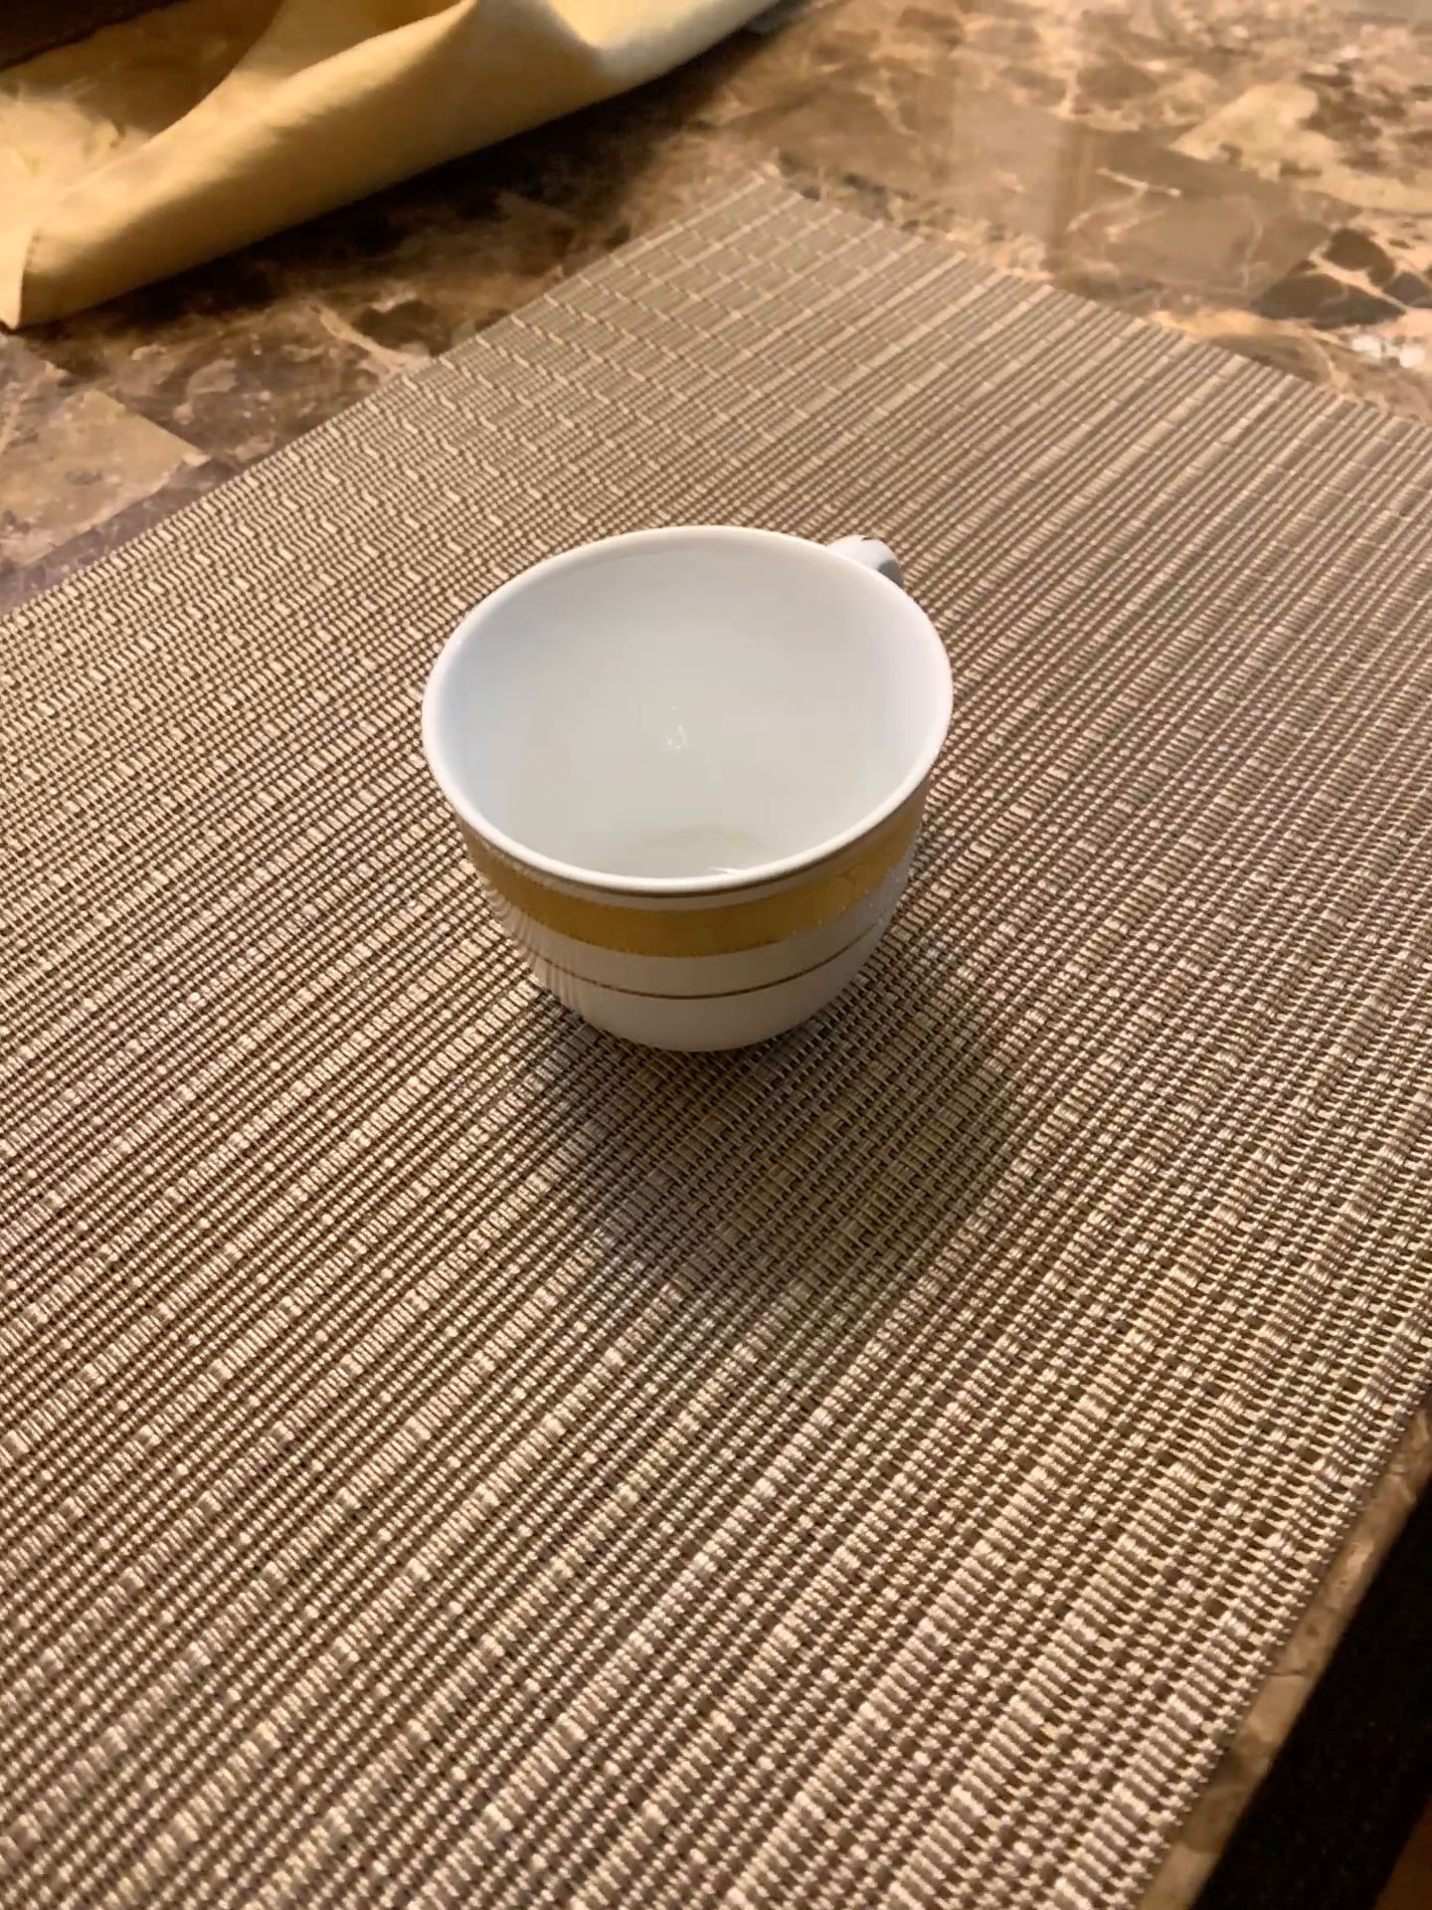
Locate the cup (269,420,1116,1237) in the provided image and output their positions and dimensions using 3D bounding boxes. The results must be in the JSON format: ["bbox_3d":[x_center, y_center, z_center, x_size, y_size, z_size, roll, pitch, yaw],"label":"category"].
[{"bbox_3d":[0.000,-0.026,0.243,0.082,0.055,0.103,27,57,22],"label":"cup"}]
